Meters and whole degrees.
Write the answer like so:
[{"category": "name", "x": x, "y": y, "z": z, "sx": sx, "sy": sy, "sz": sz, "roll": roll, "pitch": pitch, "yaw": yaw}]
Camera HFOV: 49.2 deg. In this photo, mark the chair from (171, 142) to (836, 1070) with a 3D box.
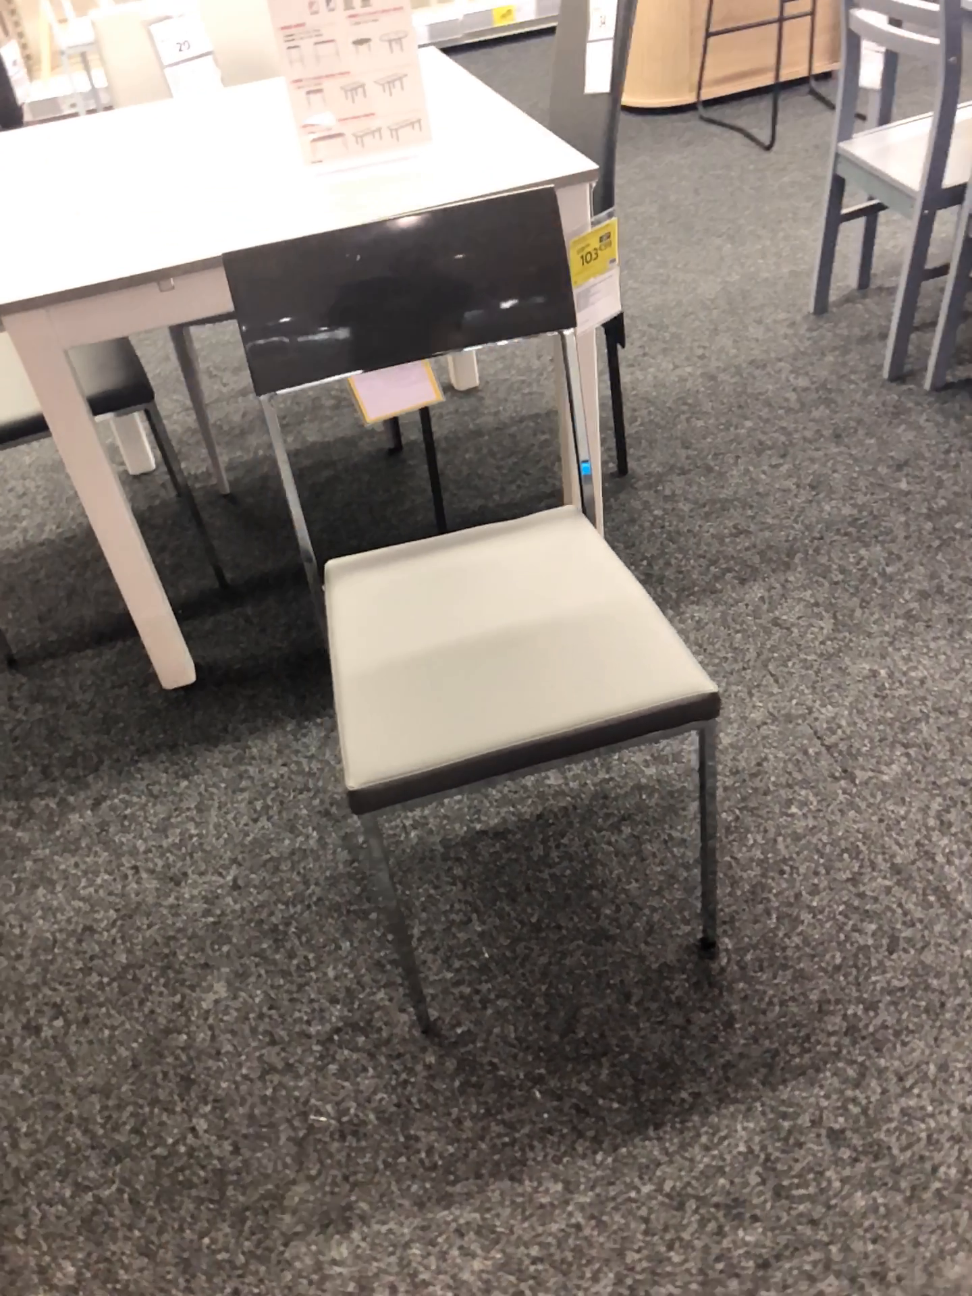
[{"category": "chair", "x": 0.009, "y": -0.030, "z": 1.266, "sx": 0.490, "sy": 0.856, "sz": 0.552, "roll": -15, "pitch": 42, "yaw": -7}]
